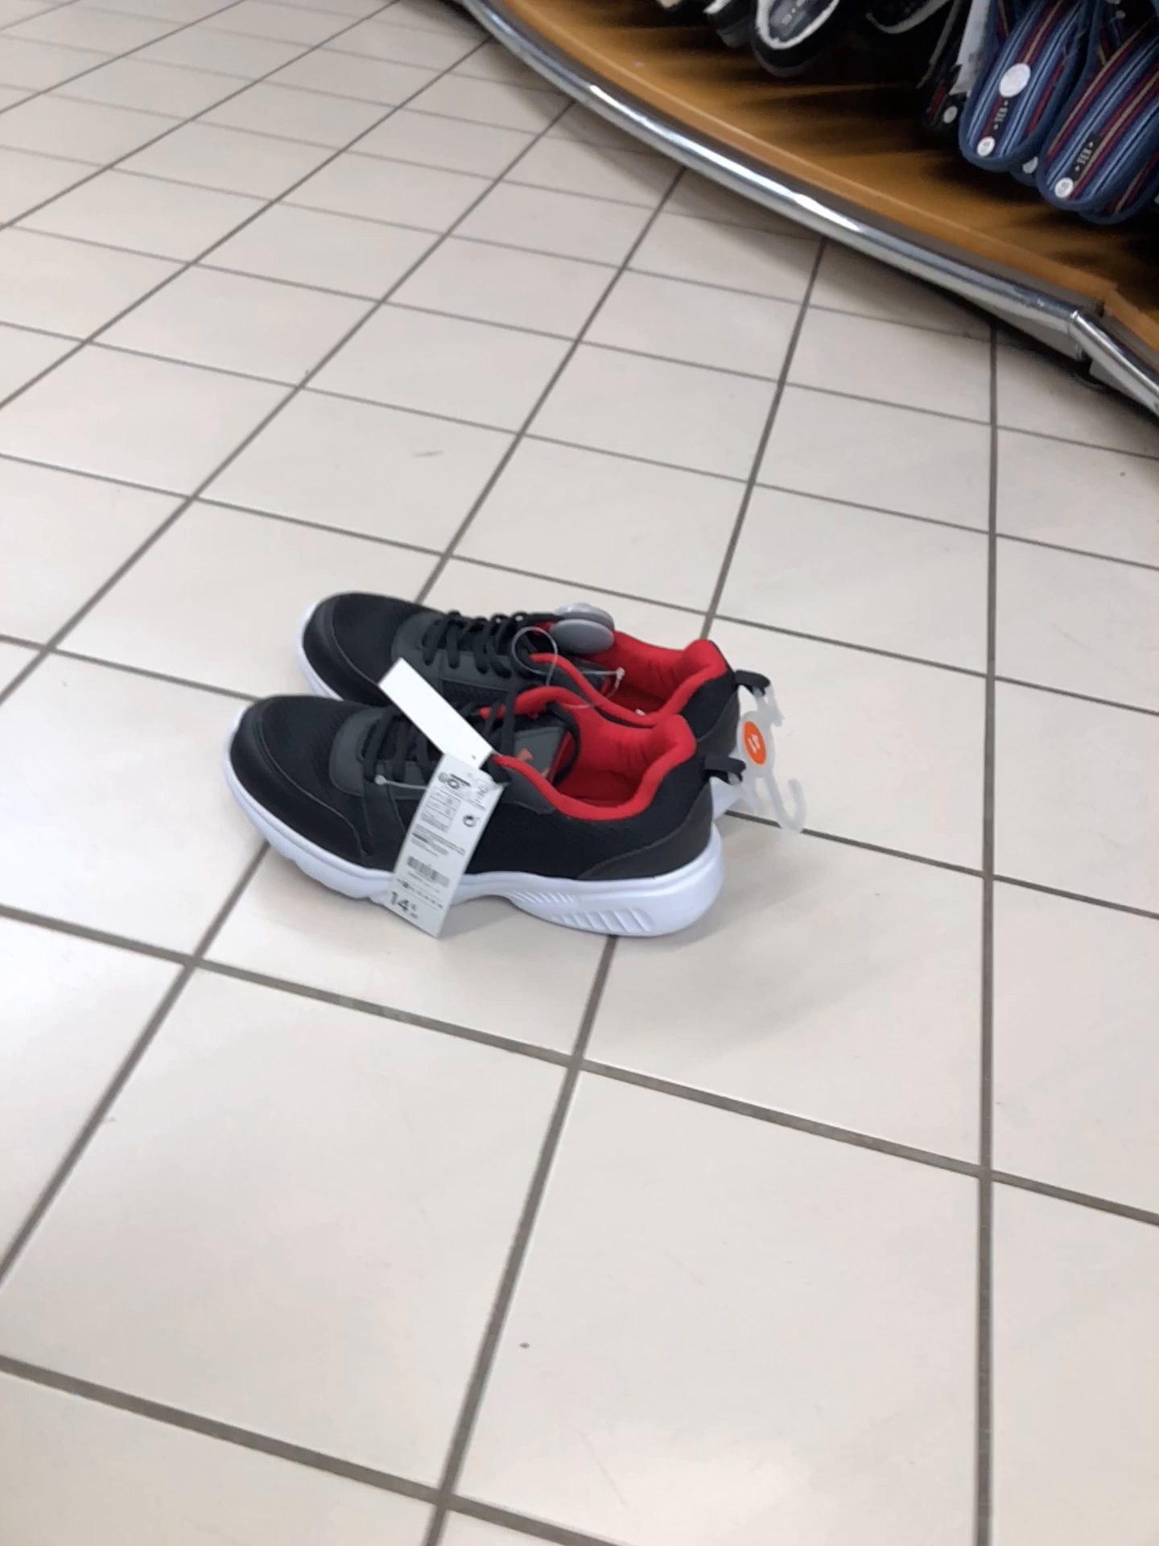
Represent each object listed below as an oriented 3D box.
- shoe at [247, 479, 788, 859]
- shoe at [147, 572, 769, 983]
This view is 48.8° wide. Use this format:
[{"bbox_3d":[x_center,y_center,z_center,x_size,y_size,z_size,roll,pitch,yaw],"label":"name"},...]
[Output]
[{"bbox_3d":[-0.036,-0.063,0.754,0.285,0.129,0.101,14,42,7],"label":"shoe"},{"bbox_3d":[-0.061,0.001,0.684,0.295,0.129,0.101,12,42,5],"label":"shoe"}]
